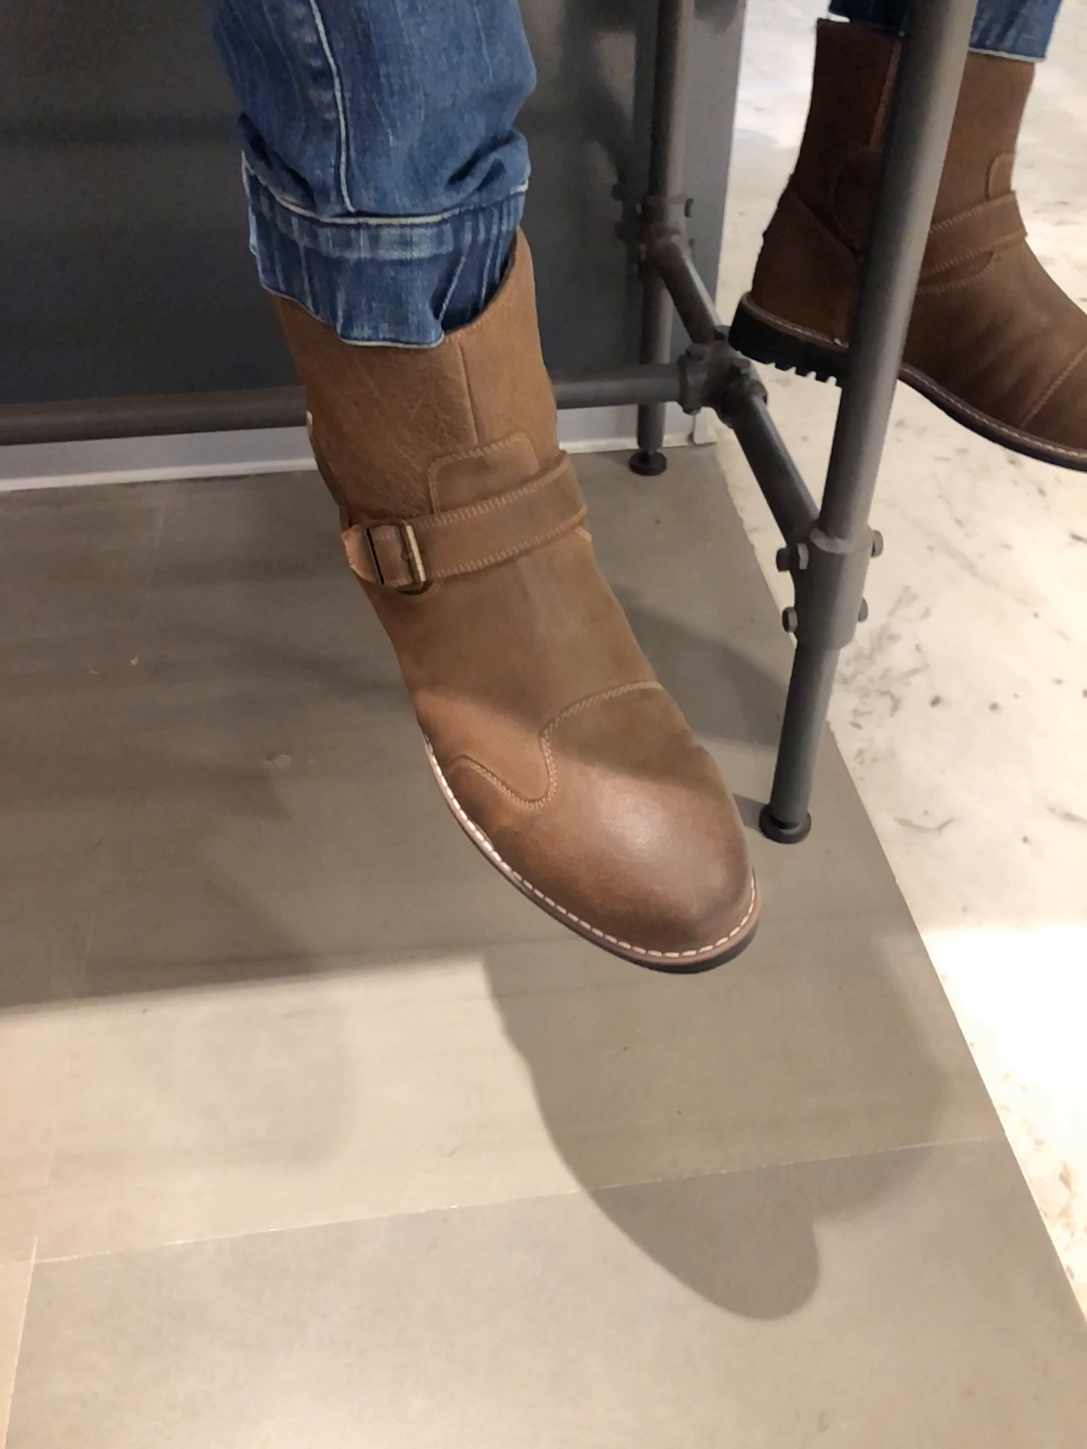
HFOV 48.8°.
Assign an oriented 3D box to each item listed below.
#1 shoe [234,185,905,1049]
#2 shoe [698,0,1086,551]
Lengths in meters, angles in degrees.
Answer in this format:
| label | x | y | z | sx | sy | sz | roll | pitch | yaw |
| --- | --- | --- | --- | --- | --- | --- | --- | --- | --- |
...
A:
| label | x | y | z | sx | sy | sz | roll | pitch | yaw |
| --- | --- | --- | --- | --- | --- | --- | --- | --- | --- |
| shoe | -0.004 | -0.053 | 0.484 | 0.109 | 0.206 | 0.275 | -24 | 50 | -17 |
| shoe | 0.284 | -0.274 | 0.696 | 0.324 | 0.206 | 0.114 | 27 | 39 | 16 |
